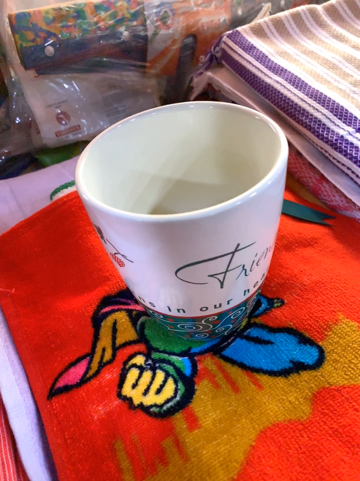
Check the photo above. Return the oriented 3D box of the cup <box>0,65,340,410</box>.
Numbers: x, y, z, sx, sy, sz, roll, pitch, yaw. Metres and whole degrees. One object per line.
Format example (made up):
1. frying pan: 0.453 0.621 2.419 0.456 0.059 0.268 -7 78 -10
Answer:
1. cup: 0.007 -0.013 0.199 0.100 0.094 0.133 19 52 25
